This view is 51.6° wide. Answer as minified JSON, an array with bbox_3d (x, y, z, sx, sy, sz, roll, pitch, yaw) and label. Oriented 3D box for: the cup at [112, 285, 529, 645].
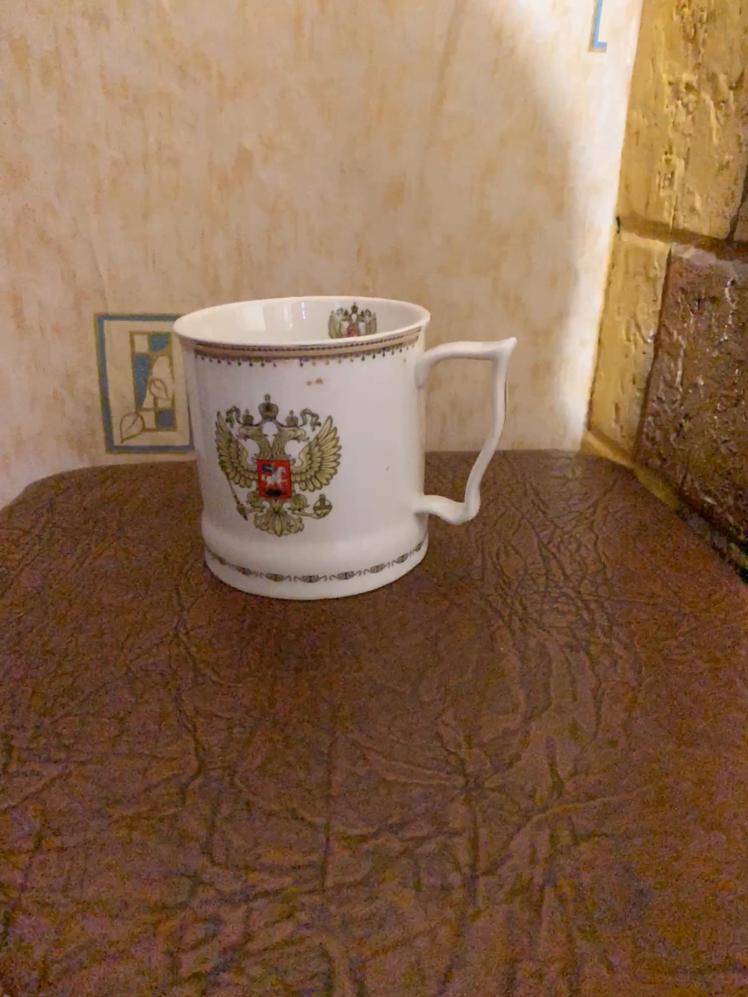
[{"bbox_3d":[-0.012,-0.022,0.299,0.126,0.097,0.100,7,23,13],"label":"cup"}]
